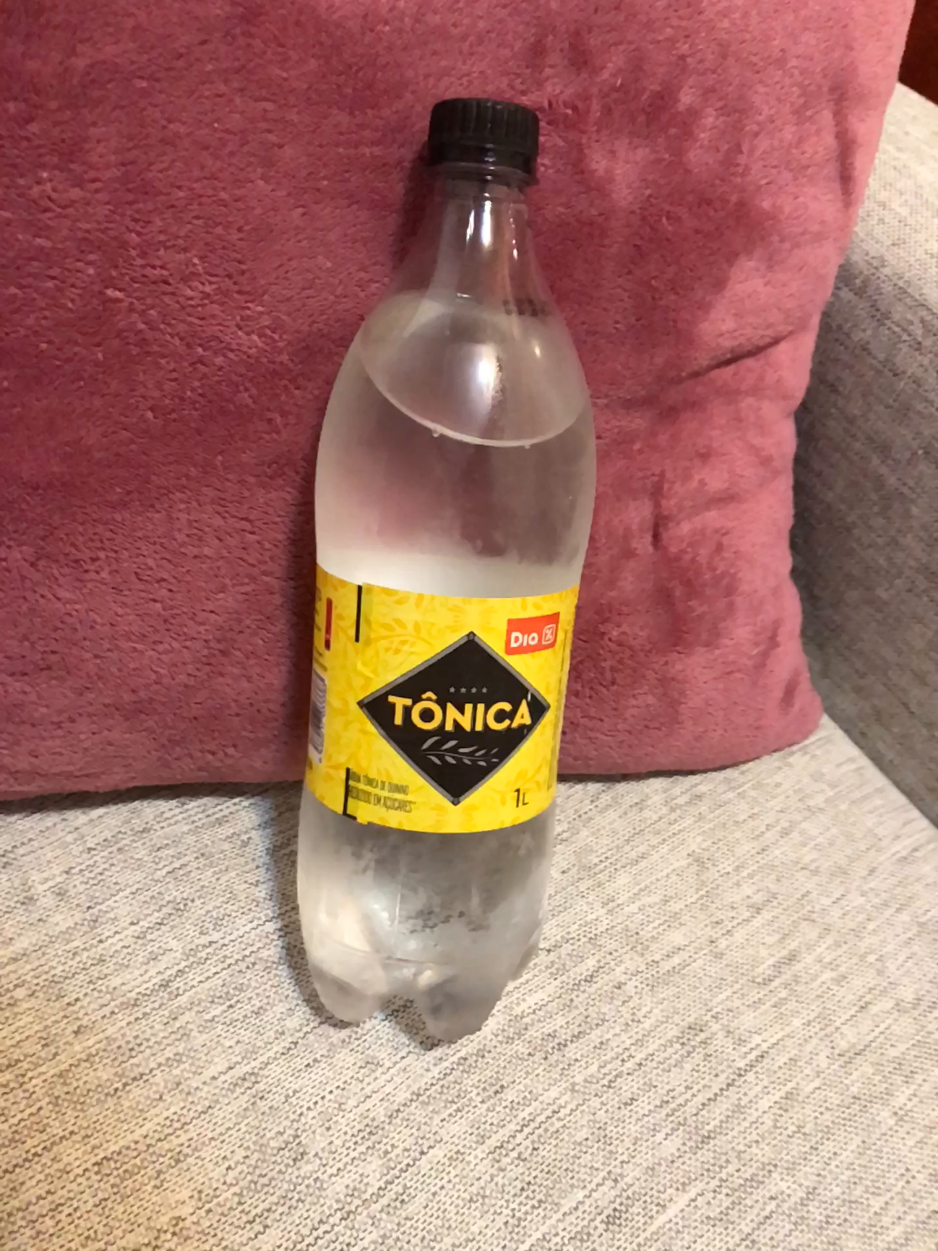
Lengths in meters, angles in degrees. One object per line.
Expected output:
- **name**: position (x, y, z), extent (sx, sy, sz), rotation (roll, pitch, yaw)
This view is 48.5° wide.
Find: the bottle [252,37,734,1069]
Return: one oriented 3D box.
- **bottle**: position (-0.009, -0.014, 0.324), extent (0.100, 0.269, 0.100), rotation (5, 17, -2)
